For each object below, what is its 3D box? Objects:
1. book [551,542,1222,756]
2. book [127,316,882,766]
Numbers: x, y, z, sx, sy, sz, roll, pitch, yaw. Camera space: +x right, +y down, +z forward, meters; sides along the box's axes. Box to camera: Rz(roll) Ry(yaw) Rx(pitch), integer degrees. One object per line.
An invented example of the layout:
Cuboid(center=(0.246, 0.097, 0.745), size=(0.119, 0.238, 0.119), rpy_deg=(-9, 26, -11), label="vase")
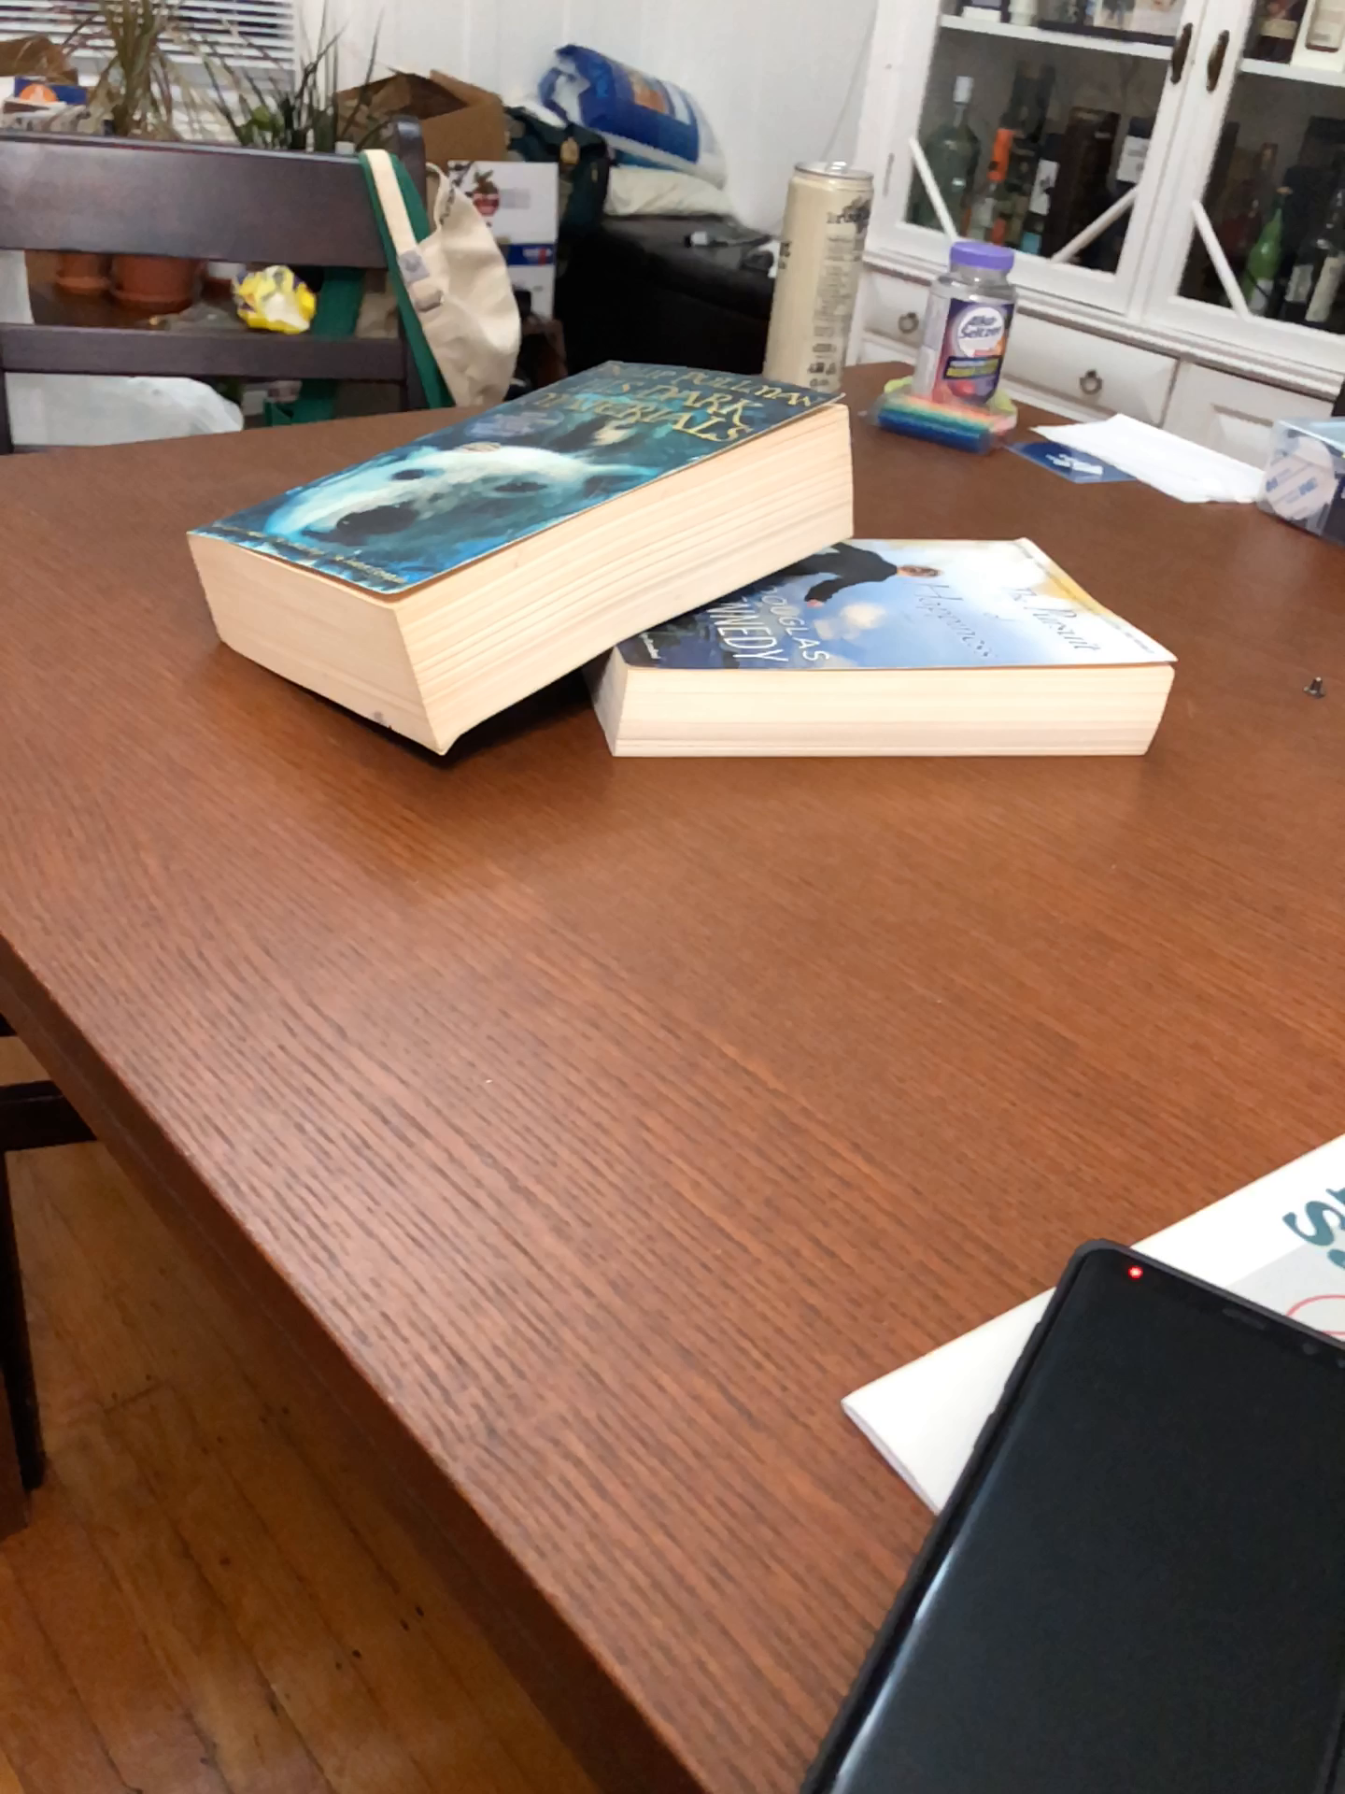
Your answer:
Cuboid(center=(0.076, -0.110, 0.626), size=(0.240, 0.040, 0.171), rpy_deg=(-2, 26, -9), label="book")
Cuboid(center=(-0.060, -0.157, 0.592), size=(0.241, 0.060, 0.170), rpy_deg=(-34, 44, -31), label="book")
